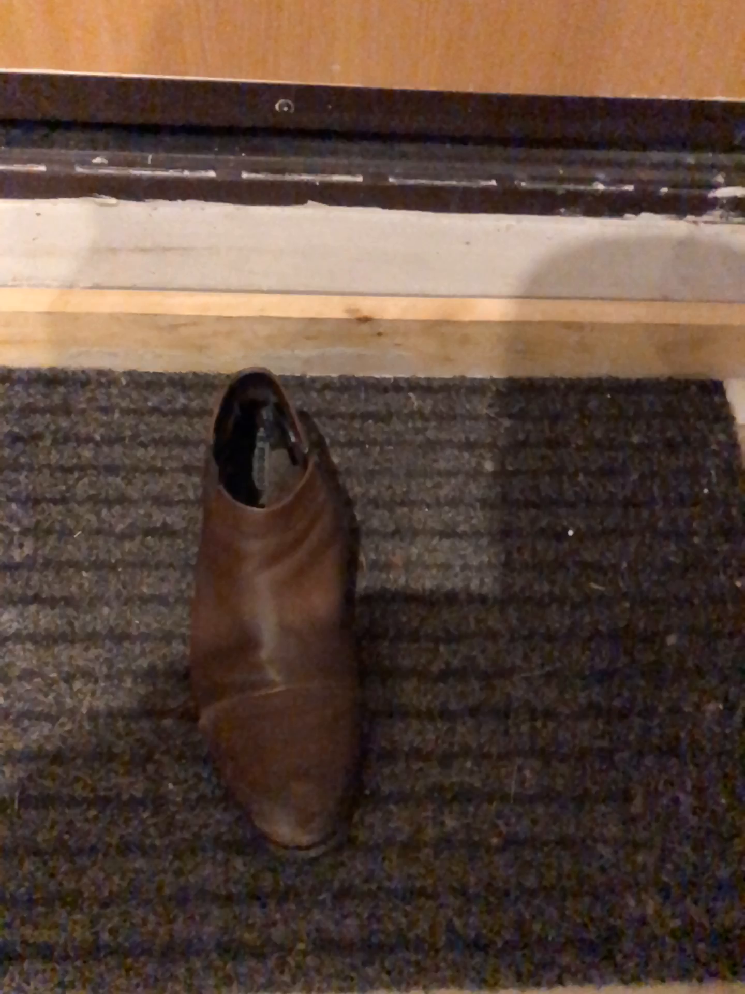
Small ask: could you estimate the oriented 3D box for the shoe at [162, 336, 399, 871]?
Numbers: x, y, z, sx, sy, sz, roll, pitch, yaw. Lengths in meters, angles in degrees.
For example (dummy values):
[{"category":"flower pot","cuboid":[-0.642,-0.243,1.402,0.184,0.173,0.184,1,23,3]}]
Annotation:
[{"category":"shoe","cuboid":[-0.065,0.060,0.520,0.110,0.129,0.301,-5,60,-6]}]
